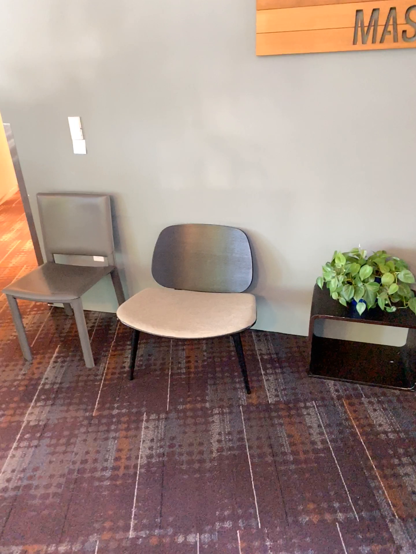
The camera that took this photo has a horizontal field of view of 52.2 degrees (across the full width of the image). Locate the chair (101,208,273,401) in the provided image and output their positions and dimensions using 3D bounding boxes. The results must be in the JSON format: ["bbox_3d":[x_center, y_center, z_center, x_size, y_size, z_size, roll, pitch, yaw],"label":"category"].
[{"bbox_3d":[-0.049,0.115,2.508,0.791,0.835,0.713,3,27,12],"label":"chair"}]

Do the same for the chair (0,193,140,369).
[{"bbox_3d":[-0.893,-0.012,2.642,0.641,0.835,0.693,3,27,12],"label":"chair"}]
